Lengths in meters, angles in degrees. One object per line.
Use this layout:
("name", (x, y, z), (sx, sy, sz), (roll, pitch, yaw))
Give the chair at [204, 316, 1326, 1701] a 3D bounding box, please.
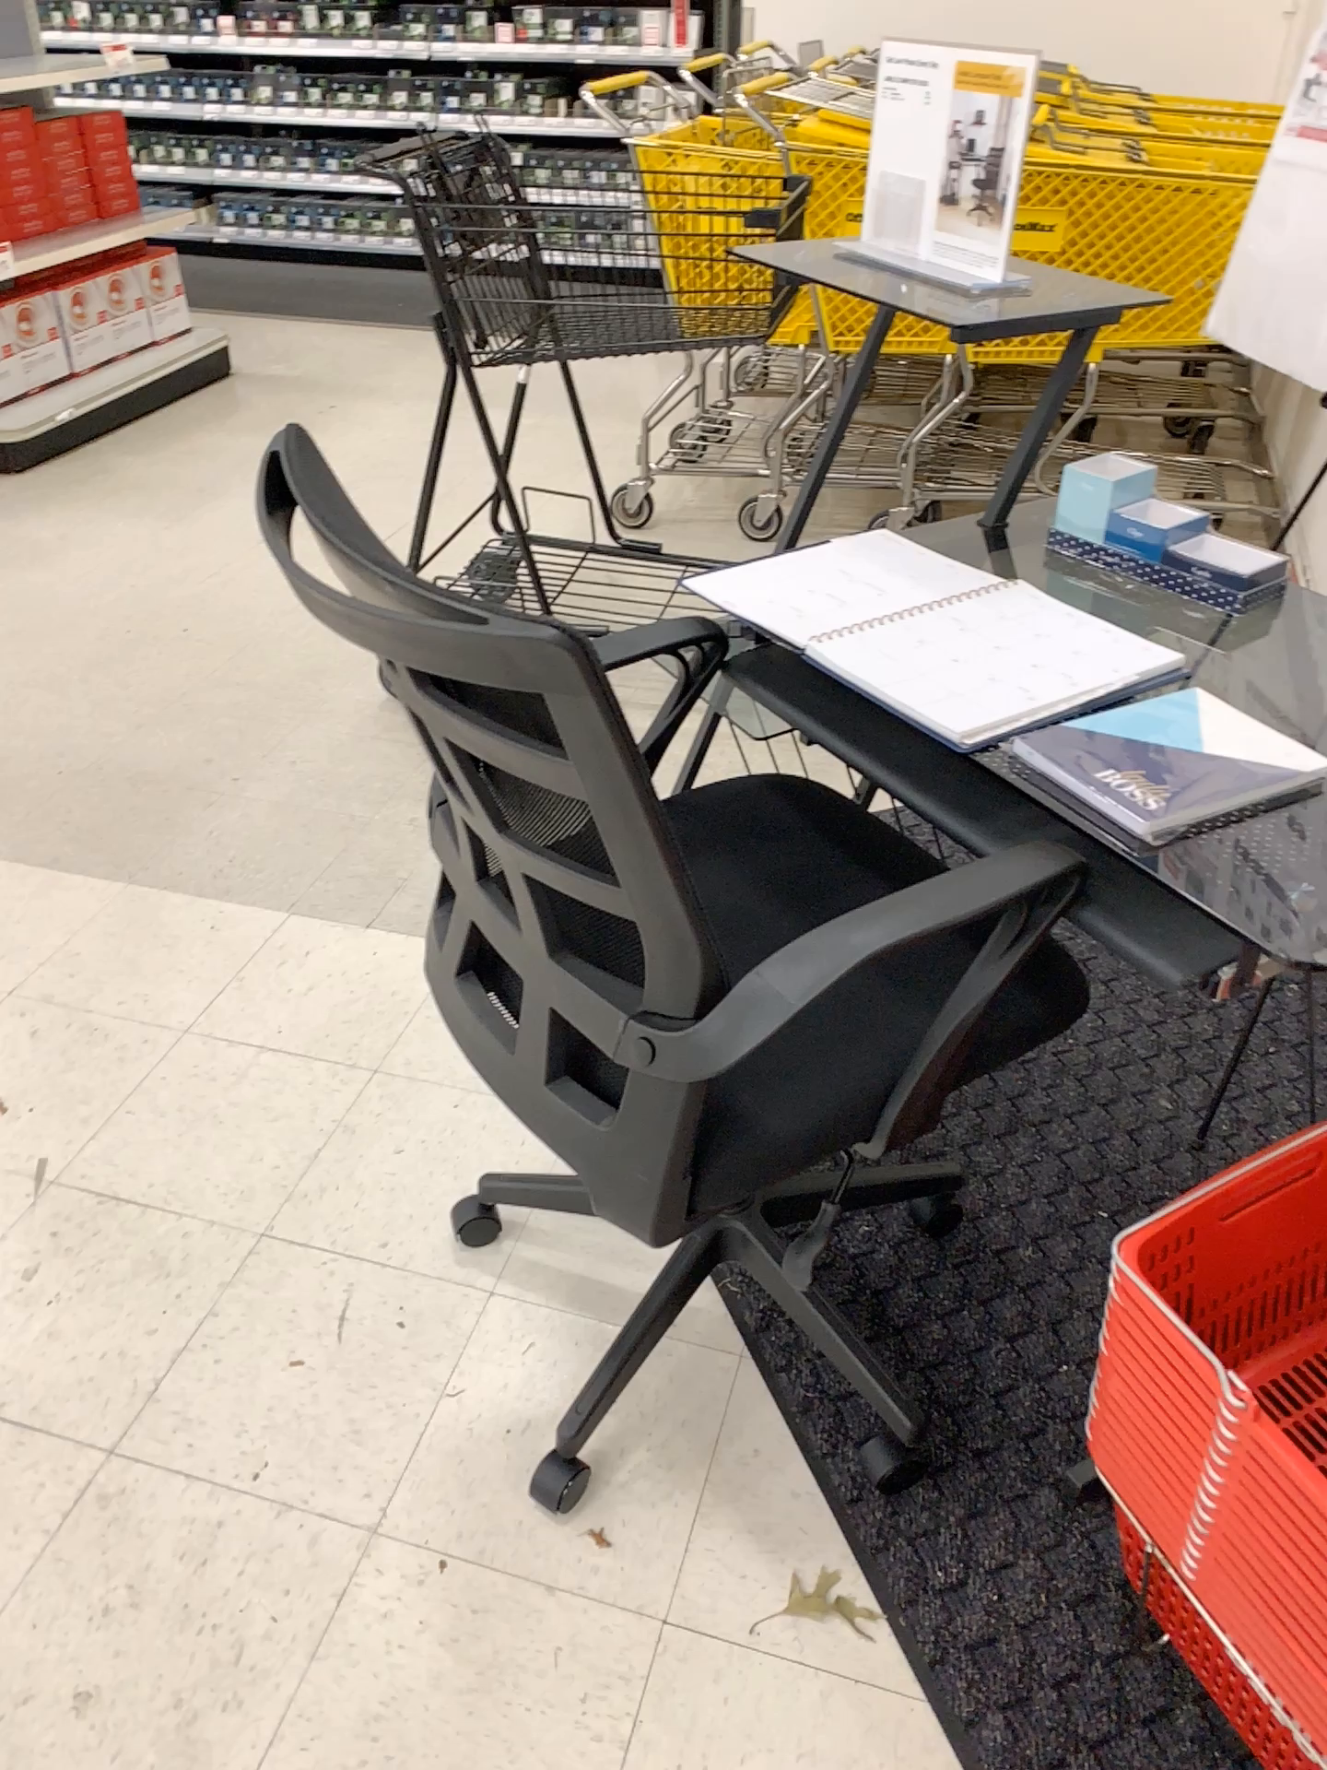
("chair", (0.094, 0.061, 1.268), (0.695, 0.942, 0.617), (-20, 39, -27))
